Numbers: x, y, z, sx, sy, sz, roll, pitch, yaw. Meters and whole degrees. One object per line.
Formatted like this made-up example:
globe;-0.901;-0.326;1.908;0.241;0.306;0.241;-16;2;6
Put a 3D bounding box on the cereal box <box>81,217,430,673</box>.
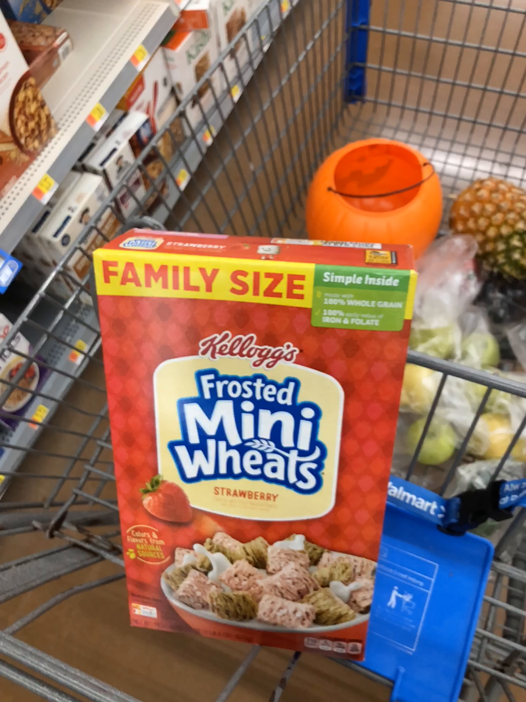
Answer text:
cereal box;-0.005;0.075;0.428;0.200;0.320;0.070;5;24;9
